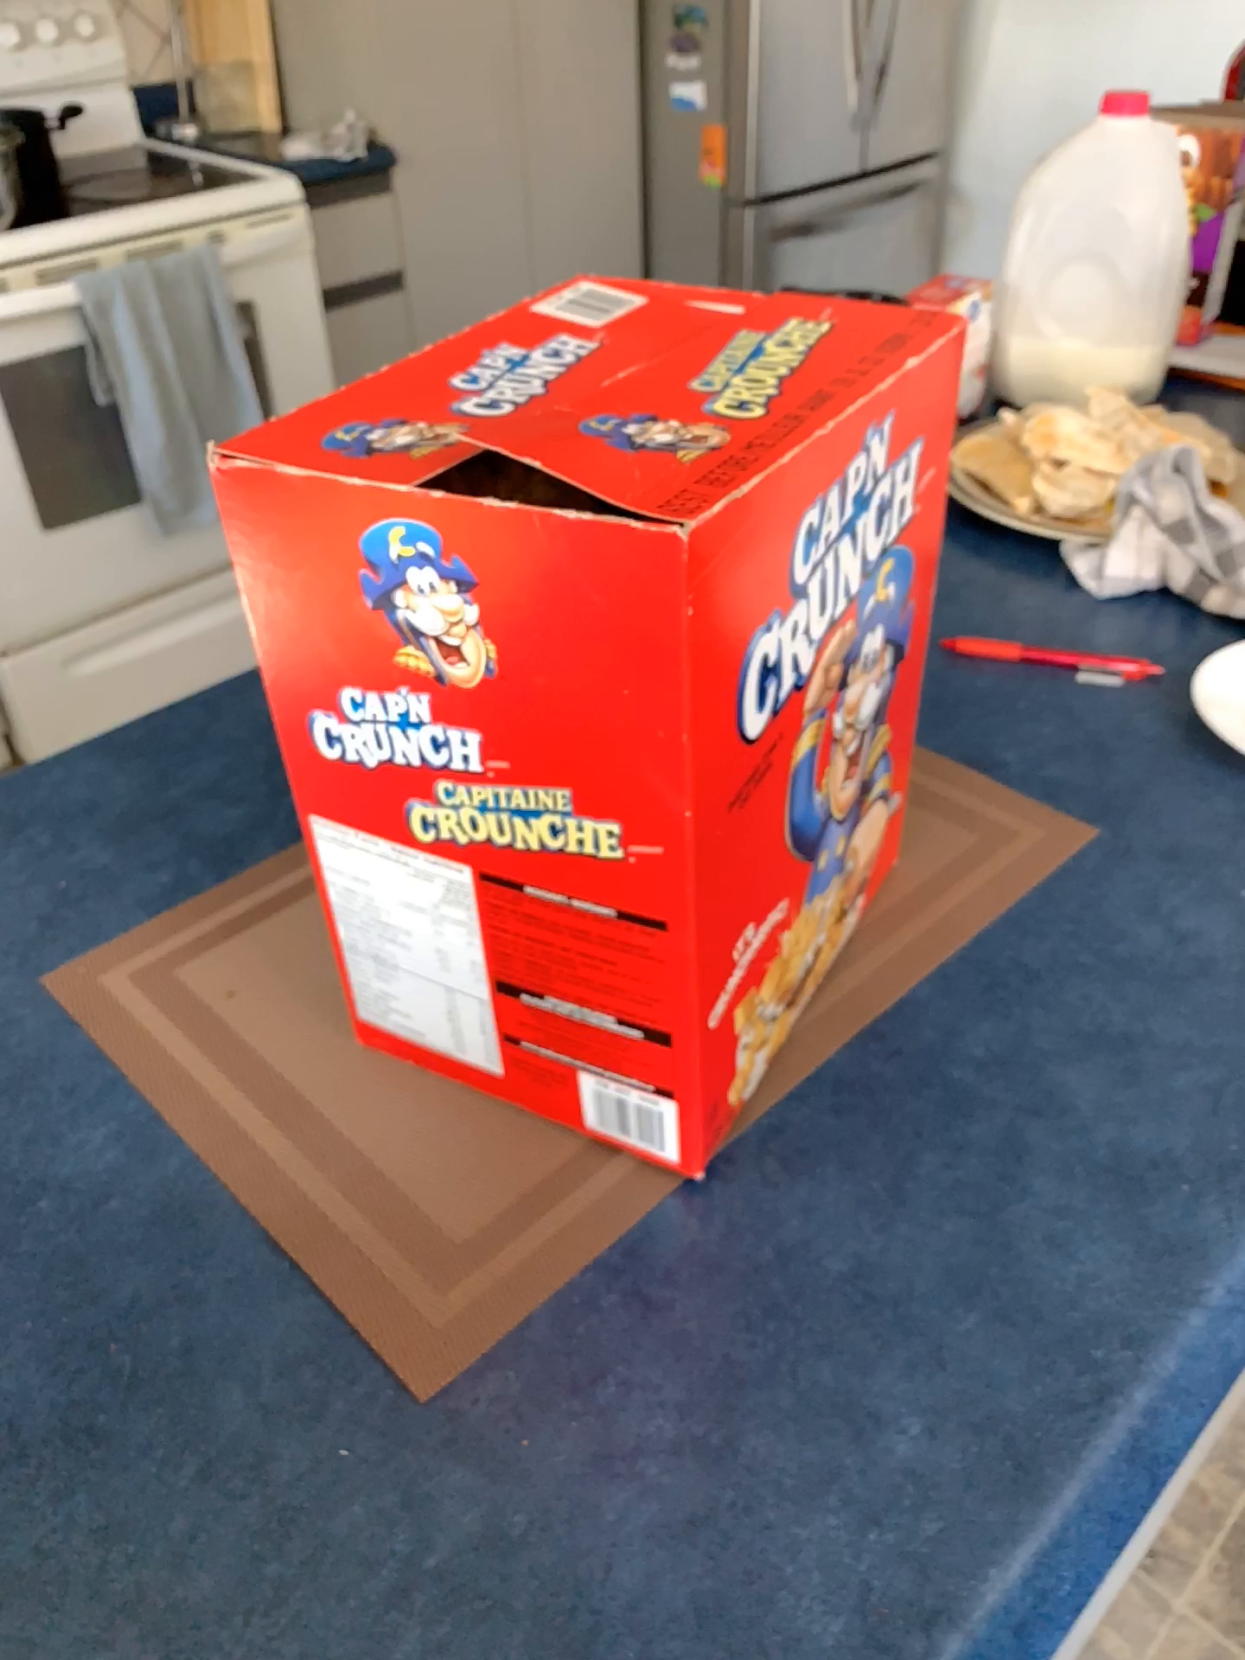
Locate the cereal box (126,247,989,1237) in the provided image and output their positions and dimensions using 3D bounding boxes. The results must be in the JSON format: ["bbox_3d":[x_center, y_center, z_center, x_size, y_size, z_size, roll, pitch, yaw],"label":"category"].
[{"bbox_3d":[-0.002,-0.058,0.569,0.210,0.297,0.272,17,40,25],"label":"cereal box"}]
